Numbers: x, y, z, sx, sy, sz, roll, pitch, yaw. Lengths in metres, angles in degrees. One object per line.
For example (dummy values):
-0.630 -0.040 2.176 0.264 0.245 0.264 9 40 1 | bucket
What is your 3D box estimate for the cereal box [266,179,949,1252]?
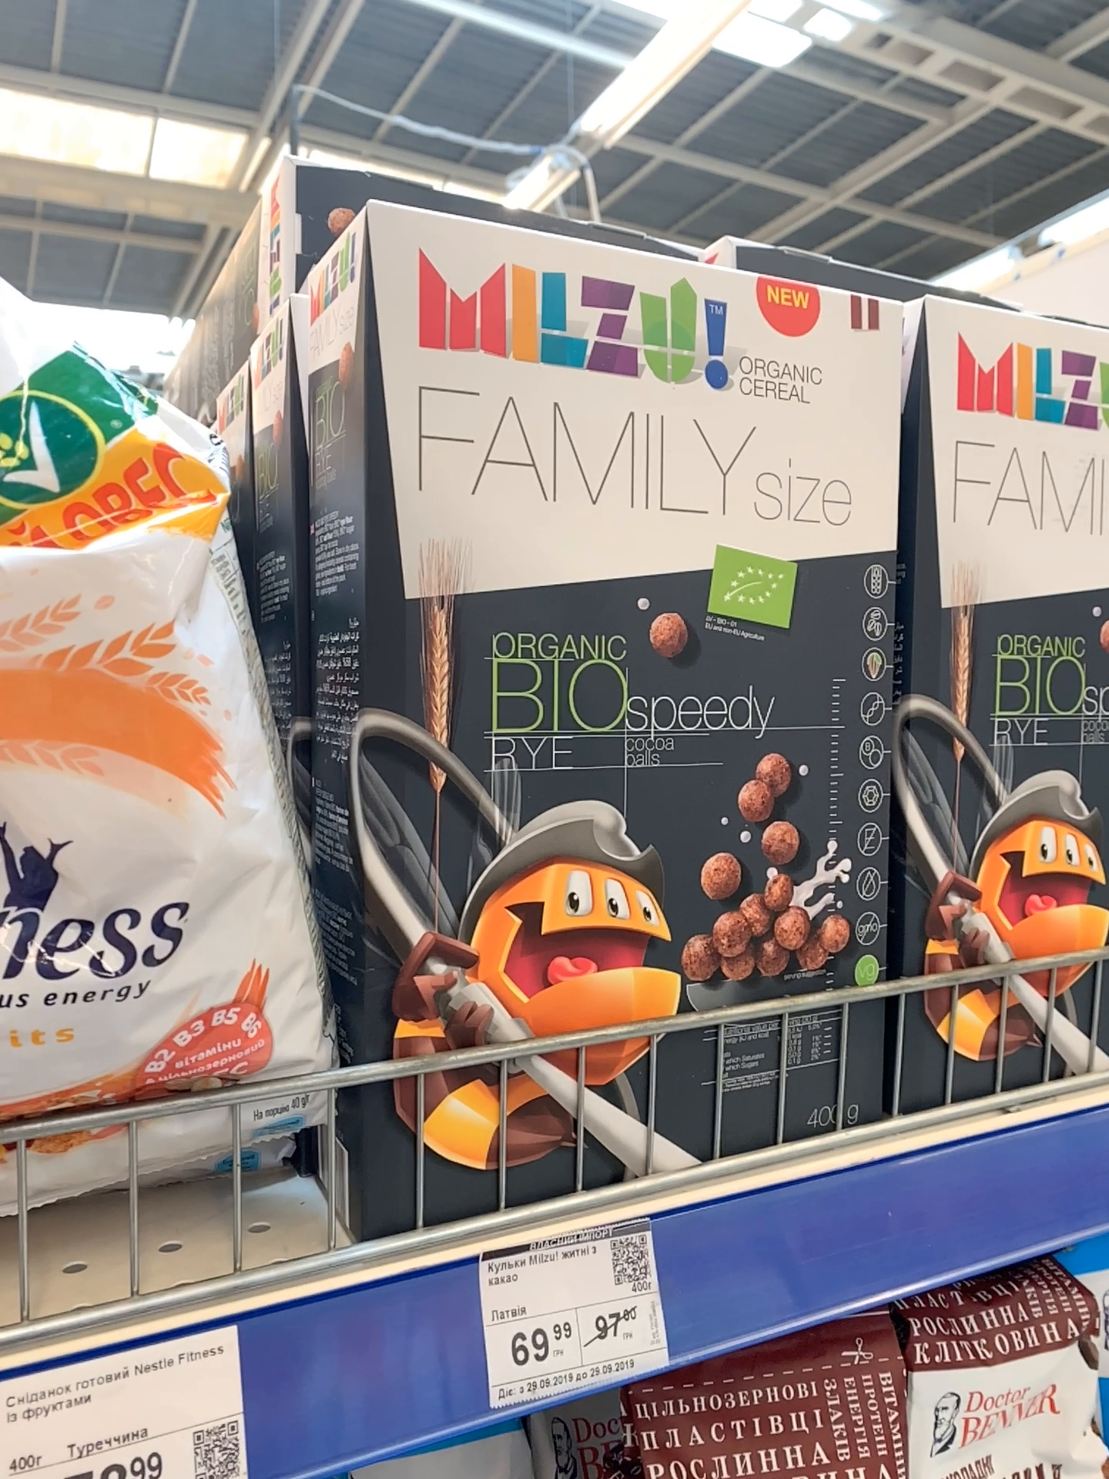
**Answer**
0.018 -0.007 0.370 0.200 0.270 0.080 -1 4 -28 | cereal box
